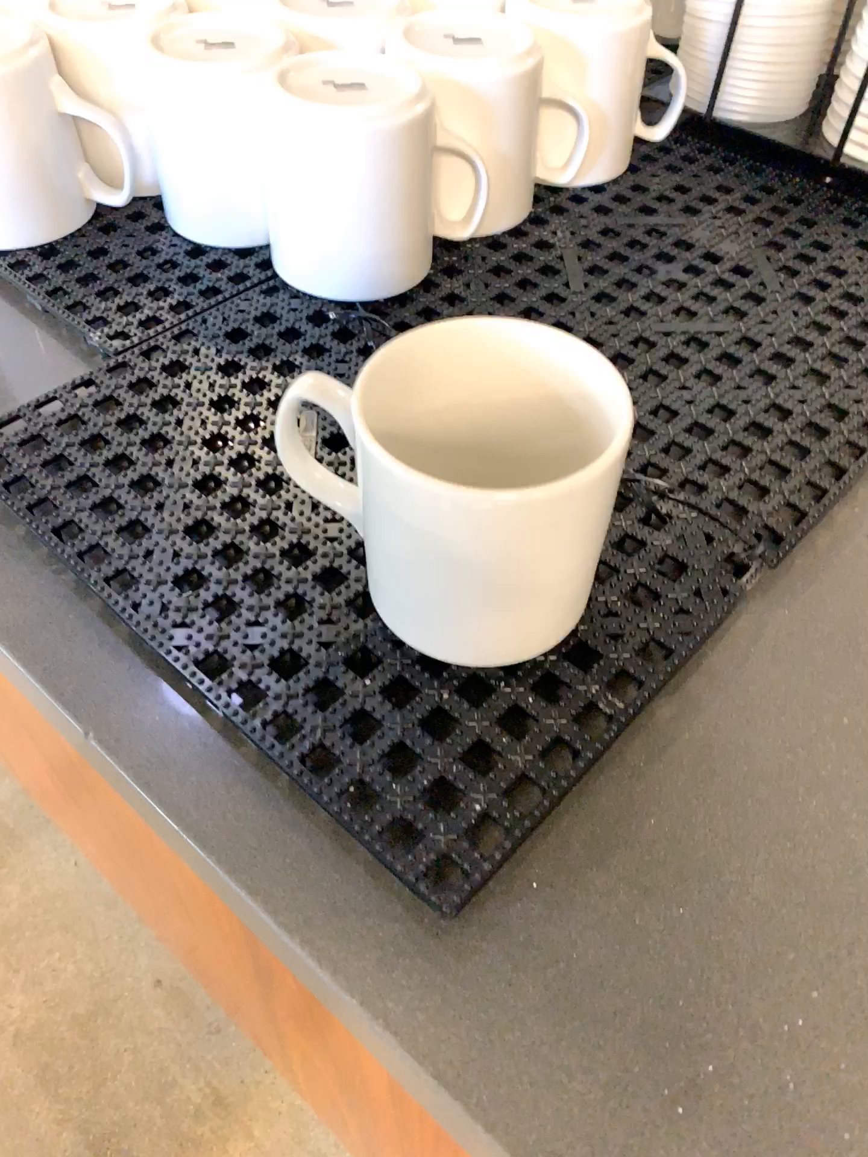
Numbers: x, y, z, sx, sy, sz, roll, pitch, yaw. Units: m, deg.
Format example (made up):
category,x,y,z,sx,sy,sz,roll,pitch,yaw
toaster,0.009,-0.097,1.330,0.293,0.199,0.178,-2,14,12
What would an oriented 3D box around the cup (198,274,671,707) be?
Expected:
category,x,y,z,sx,sy,sz,roll,pitch,yaw
cup,0.004,-0.032,0.302,0.120,0.080,0.090,16,51,12
